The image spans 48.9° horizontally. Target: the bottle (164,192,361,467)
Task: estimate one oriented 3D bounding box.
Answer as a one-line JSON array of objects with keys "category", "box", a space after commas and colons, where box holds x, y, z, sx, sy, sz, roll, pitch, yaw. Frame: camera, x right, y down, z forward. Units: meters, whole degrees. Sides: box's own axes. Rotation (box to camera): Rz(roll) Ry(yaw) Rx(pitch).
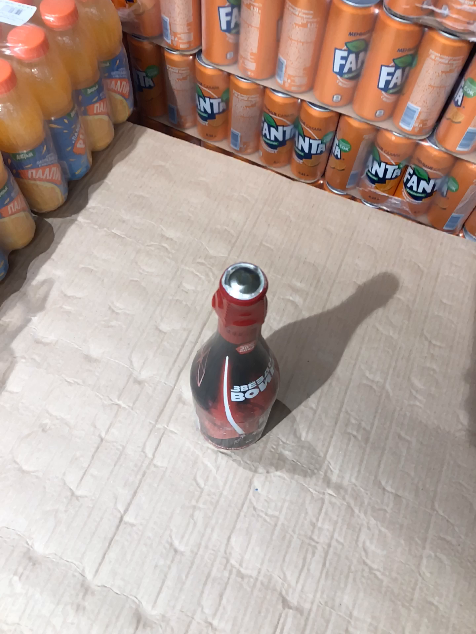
[{"category": "bottle", "box": [0.009, 0.037, 0.417, 0.085, 0.279, 0.086, 1, 64, -3]}]
